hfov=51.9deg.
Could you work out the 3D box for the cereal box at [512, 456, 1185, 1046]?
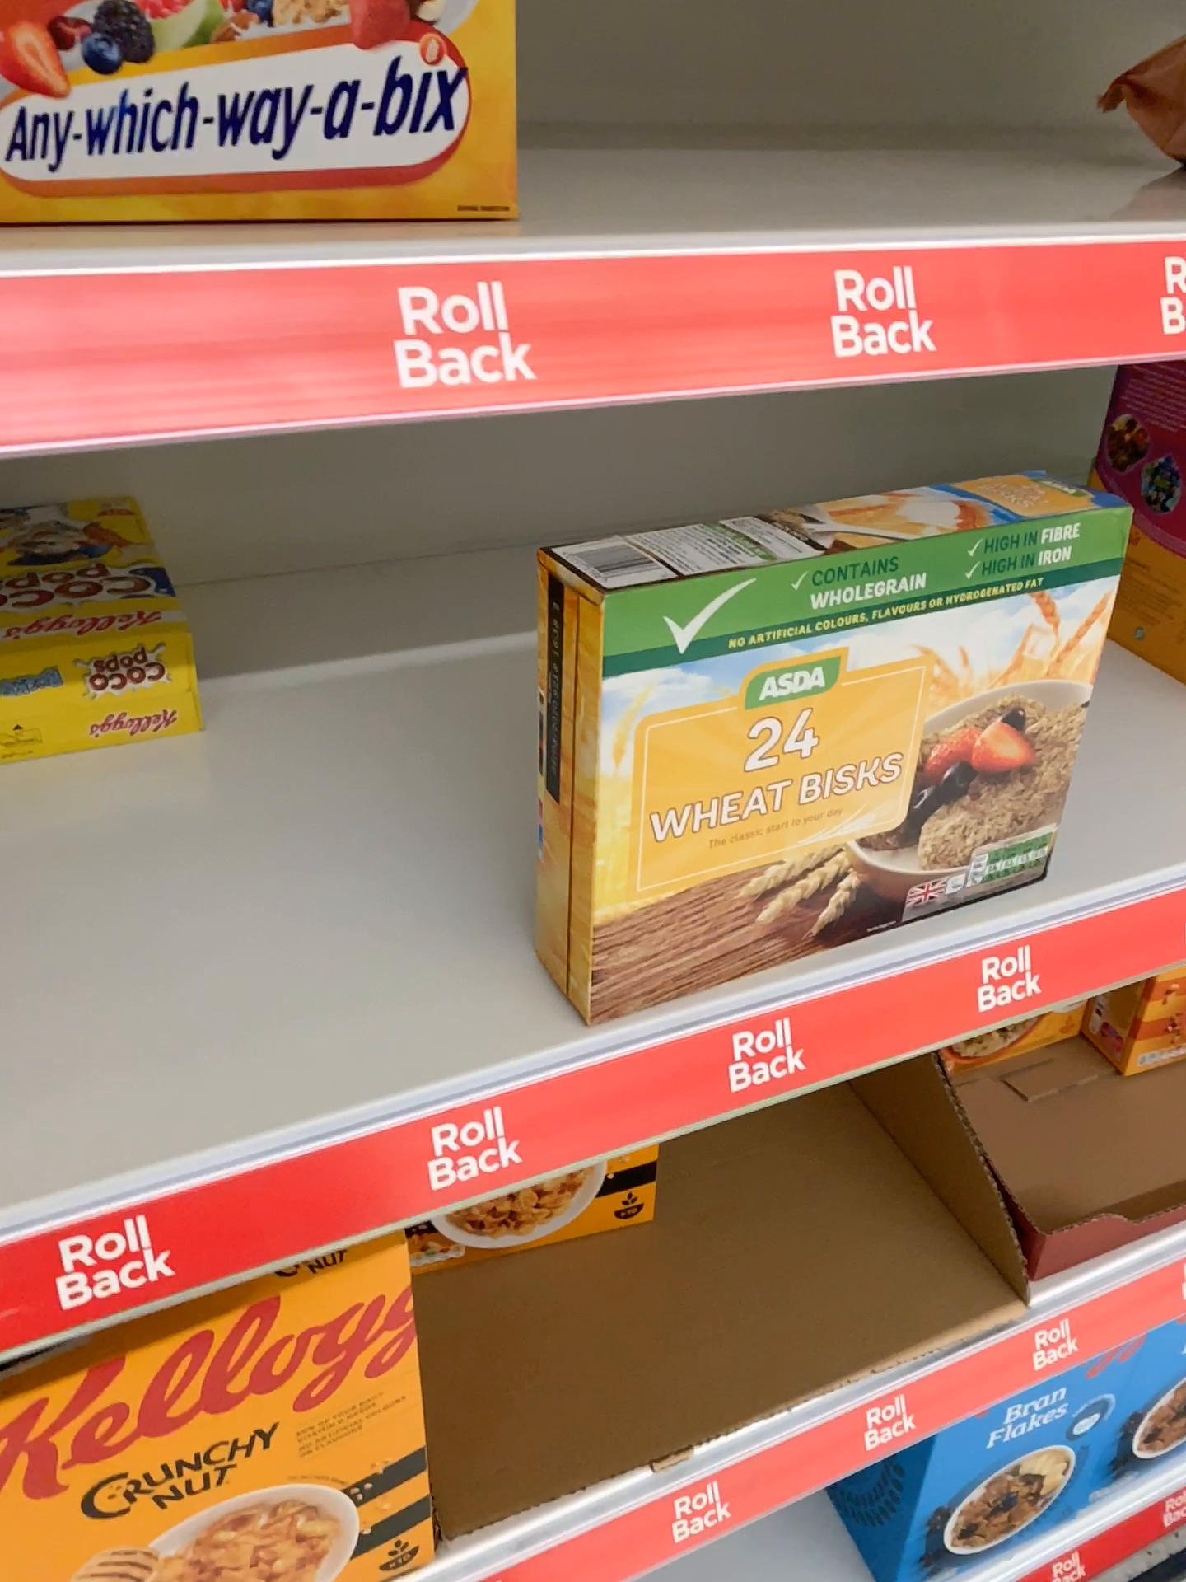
[{"bbox_3d":[0.103,-0.025,0.494,0.271,0.178,0.060,-14,35,-25],"label":"cereal box"}]
